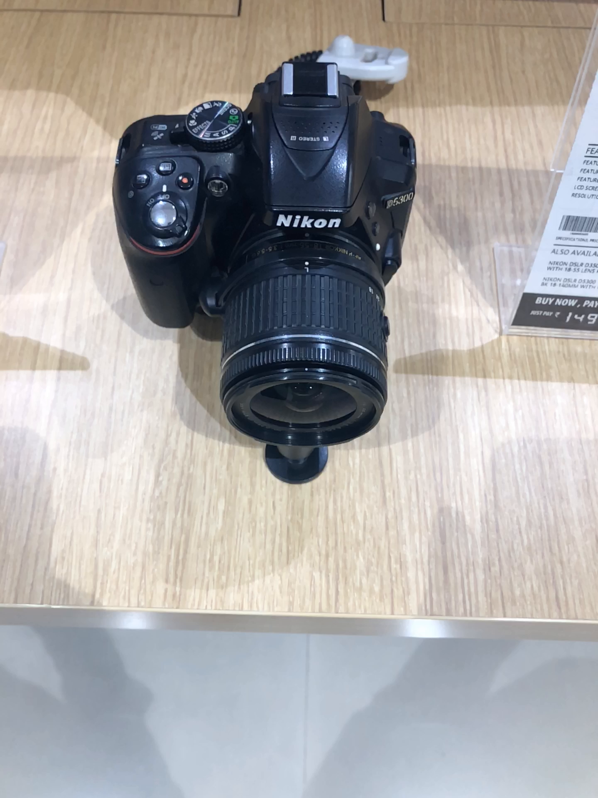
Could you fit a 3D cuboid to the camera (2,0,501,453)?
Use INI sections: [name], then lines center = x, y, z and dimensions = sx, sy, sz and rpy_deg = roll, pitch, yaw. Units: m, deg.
[camera]
center = -0.011, -0.065, 0.239
dimensions = 0.130, 0.070, 0.151
rpy_deg = 1, 63, 0
